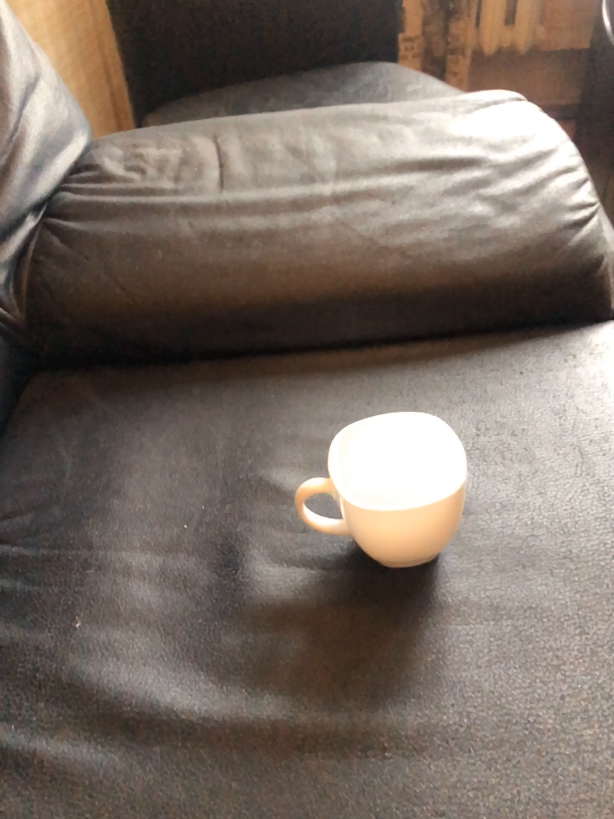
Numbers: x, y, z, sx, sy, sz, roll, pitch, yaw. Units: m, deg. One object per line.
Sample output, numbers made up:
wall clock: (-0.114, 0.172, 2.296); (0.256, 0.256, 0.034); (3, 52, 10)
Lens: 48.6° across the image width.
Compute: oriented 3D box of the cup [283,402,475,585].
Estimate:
cup: (0.041, 0.050, 0.409); (0.101, 0.063, 0.081); (-5, 40, 4)
